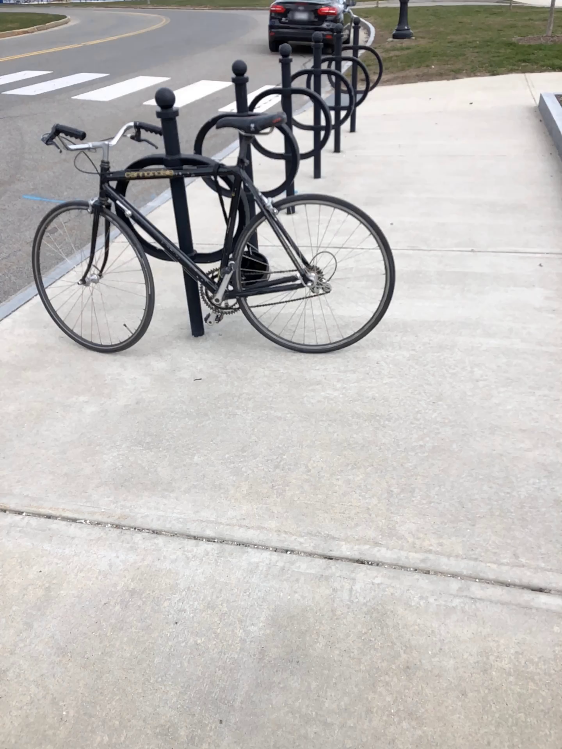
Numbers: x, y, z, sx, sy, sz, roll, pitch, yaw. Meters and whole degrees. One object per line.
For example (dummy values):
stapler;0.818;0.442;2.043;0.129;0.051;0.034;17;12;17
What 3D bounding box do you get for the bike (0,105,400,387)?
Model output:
bike;-0.318;-0.440;2.203;1.382;0.805;0.488;2;33;13
